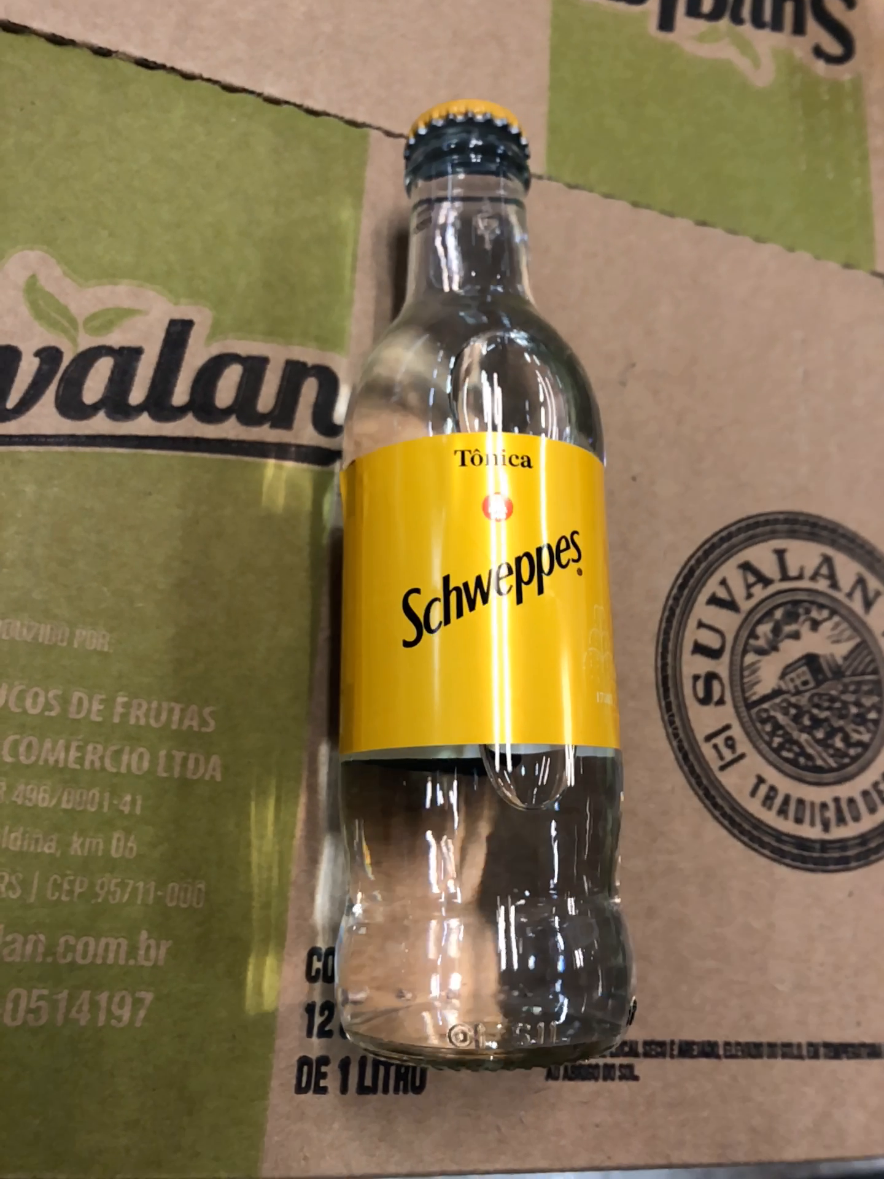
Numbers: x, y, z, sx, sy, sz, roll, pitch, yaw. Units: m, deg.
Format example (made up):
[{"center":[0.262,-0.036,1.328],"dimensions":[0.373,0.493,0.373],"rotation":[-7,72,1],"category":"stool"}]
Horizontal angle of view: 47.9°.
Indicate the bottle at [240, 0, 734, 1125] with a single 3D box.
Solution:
[{"center":[-0.001,-0.032,0.211],"dimensions":[0.070,0.070,0.240],"rotation":[3,76,-19],"category":"bottle"}]
